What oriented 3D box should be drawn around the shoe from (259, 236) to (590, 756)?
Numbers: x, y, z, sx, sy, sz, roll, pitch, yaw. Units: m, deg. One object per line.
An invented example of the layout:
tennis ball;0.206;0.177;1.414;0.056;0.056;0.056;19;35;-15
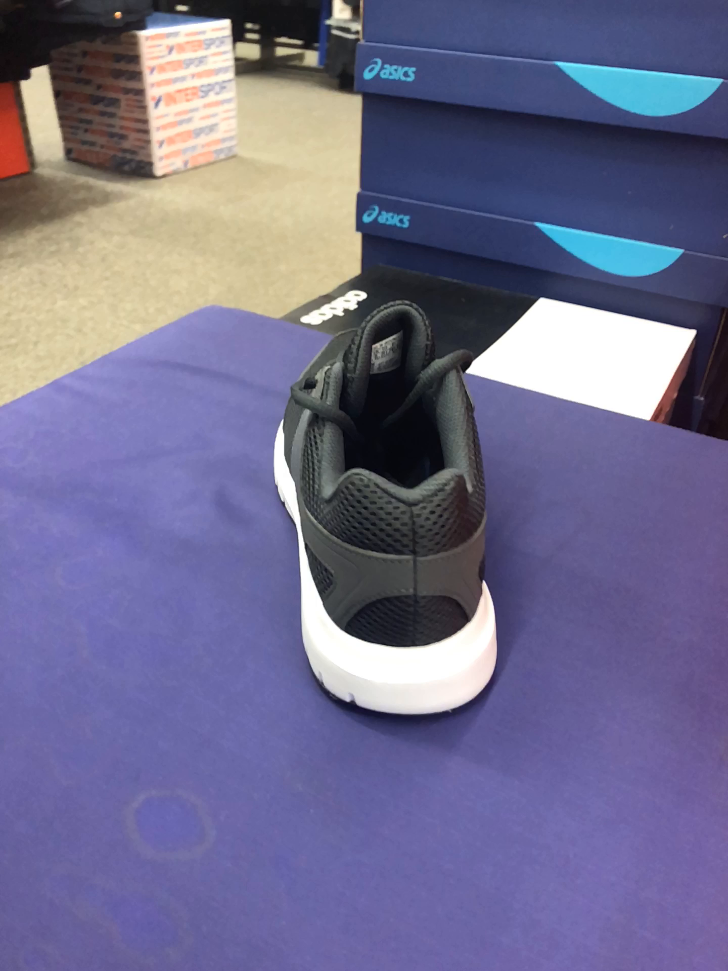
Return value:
shoe;0.006;-0.024;0.389;0.101;0.107;0.282;-2;34;-5
